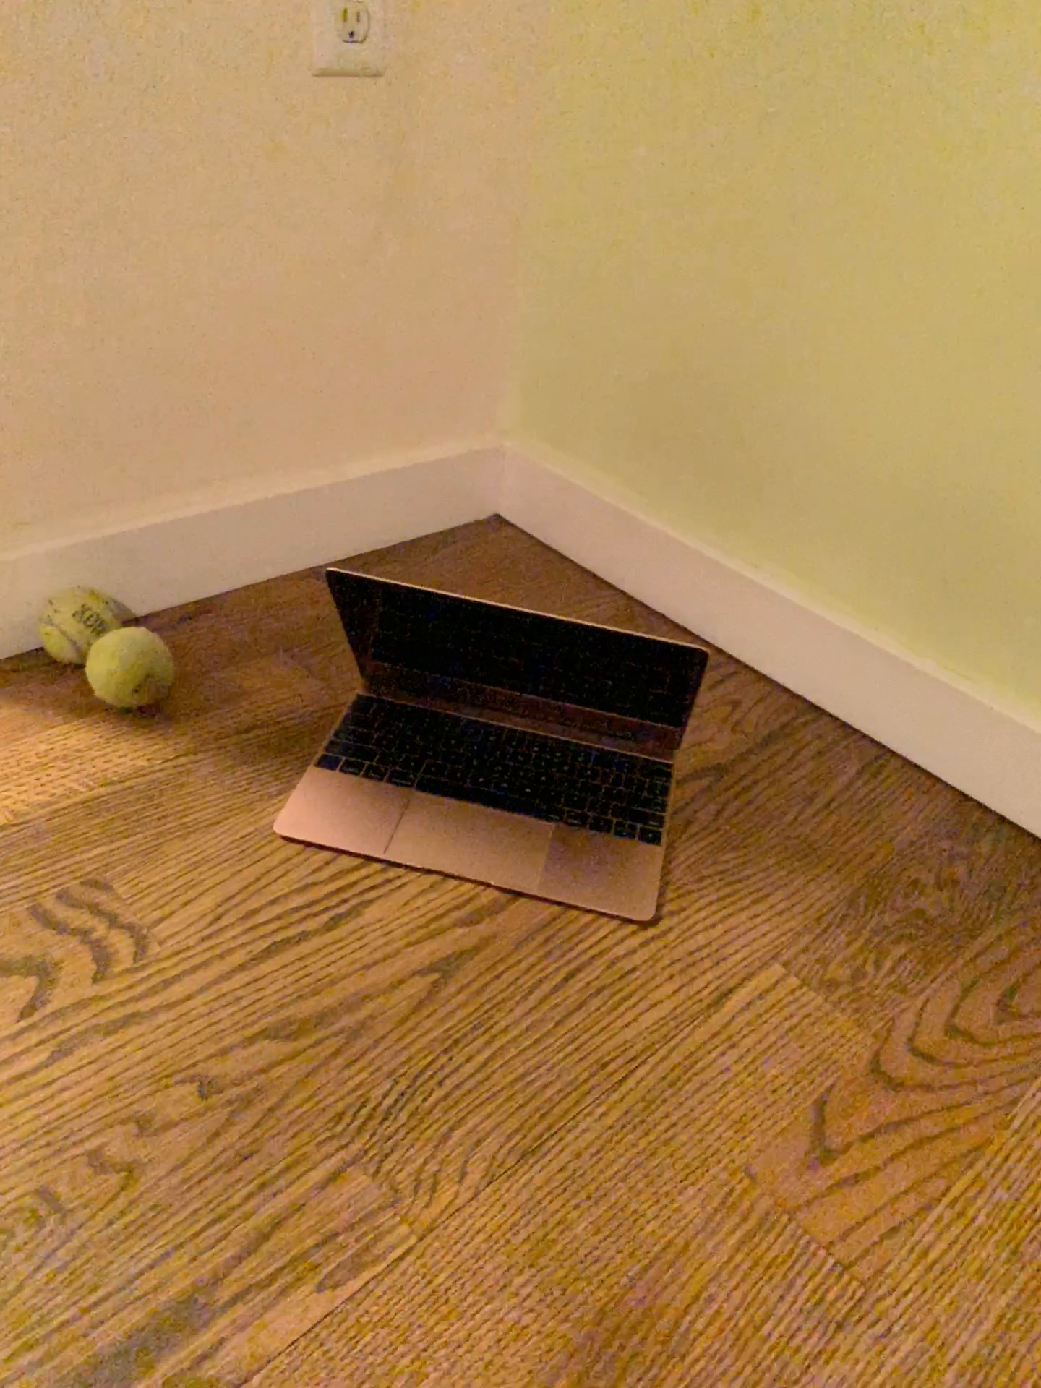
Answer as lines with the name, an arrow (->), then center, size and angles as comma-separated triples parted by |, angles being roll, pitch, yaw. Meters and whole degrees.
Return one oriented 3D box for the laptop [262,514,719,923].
laptop -> -0.016, 0.009, 0.814 | 0.288, 0.168, 0.207 | 12, 35, 6
